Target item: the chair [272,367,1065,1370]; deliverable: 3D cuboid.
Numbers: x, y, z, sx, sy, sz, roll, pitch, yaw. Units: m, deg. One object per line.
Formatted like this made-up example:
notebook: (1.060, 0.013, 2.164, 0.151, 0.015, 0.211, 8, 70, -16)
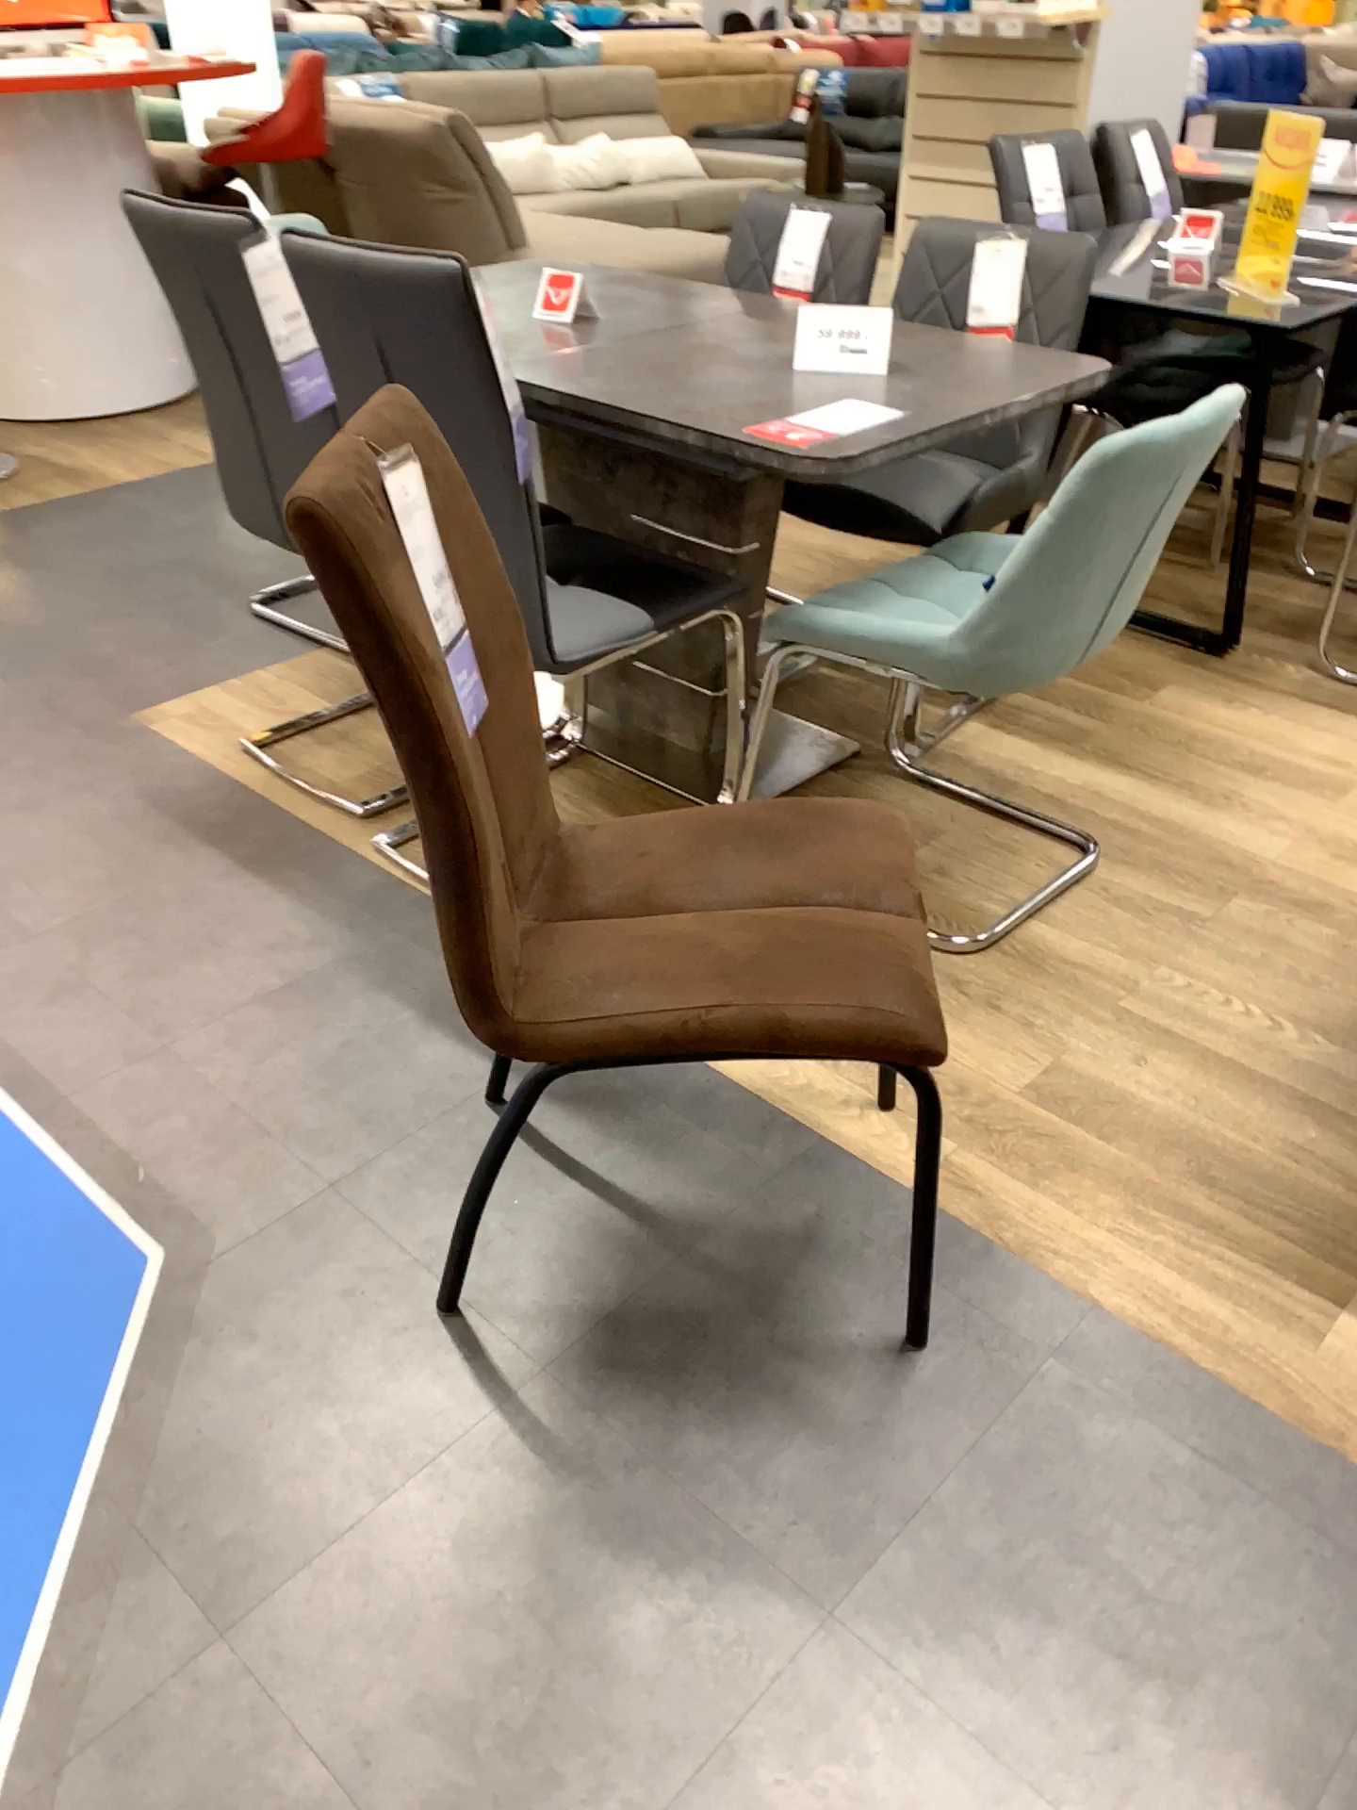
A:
chair: (-0.005, -0.013, 1.475, 0.590, 0.964, 0.443, 1, 33, 1)
